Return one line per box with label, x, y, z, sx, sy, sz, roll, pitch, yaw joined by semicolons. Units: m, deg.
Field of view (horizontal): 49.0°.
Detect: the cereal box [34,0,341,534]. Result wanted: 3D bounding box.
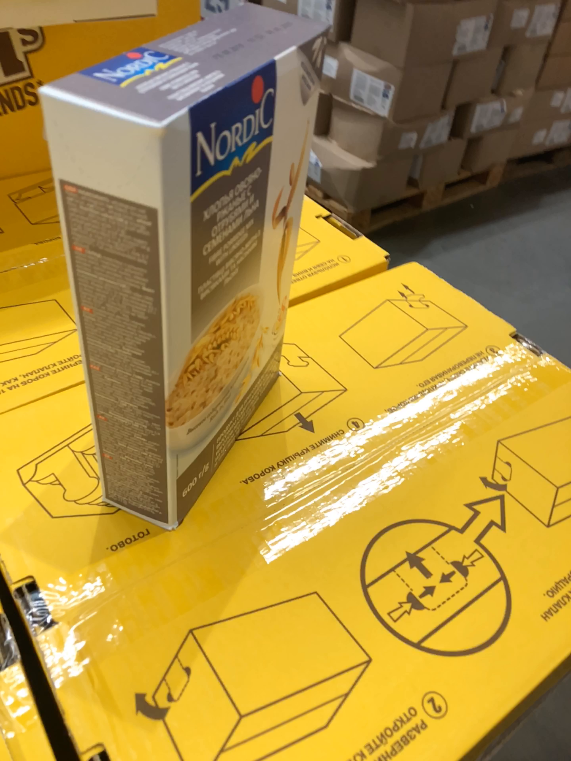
cereal box;-0.039;-0.051;0.318;0.050;0.218;0.151;21;44;13
